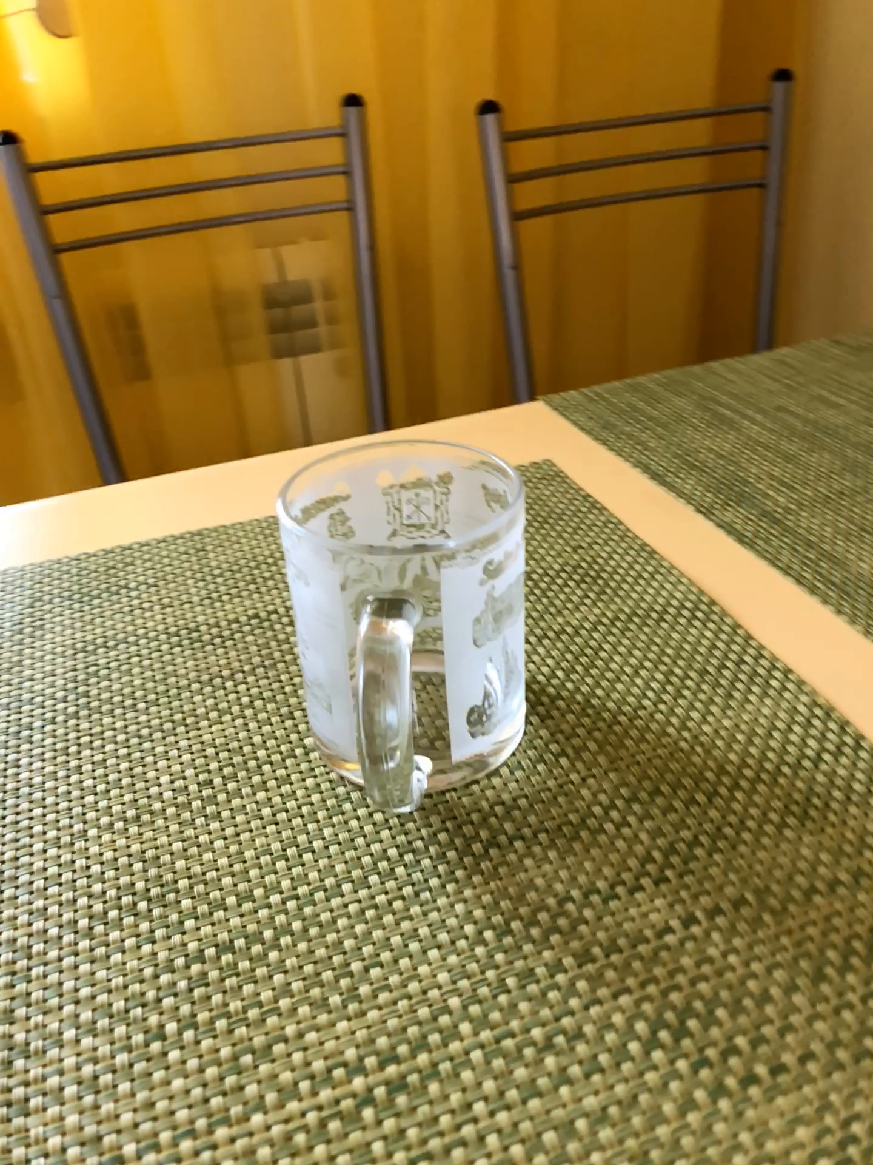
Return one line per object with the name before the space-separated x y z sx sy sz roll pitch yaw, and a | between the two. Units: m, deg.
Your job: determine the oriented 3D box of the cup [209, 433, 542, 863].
cup | -0.010 0.016 0.327 0.087 0.096 0.110 1 32 7
